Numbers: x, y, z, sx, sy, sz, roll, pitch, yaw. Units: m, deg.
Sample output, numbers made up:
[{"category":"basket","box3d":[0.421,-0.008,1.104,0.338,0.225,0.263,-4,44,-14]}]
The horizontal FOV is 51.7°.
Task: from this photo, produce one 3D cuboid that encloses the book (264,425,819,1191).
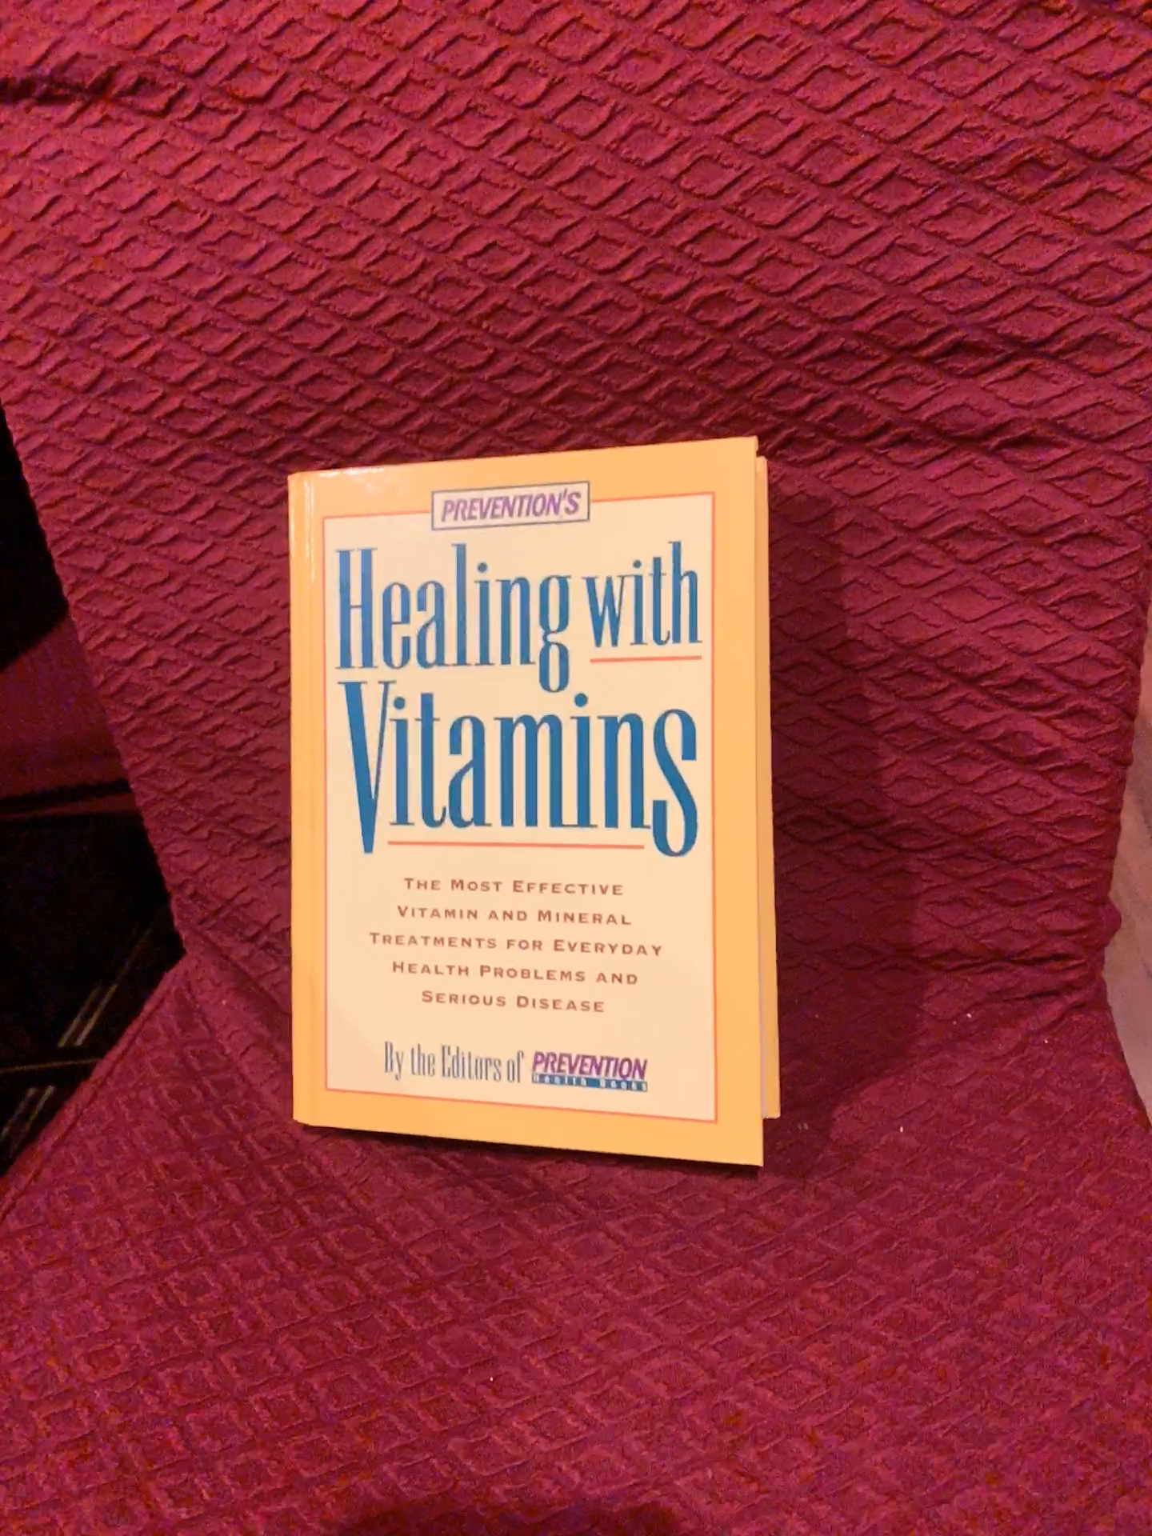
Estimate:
[{"category":"book","box3d":[-0.014,0.013,0.420,0.190,0.240,0.040,-1,0,17]}]
